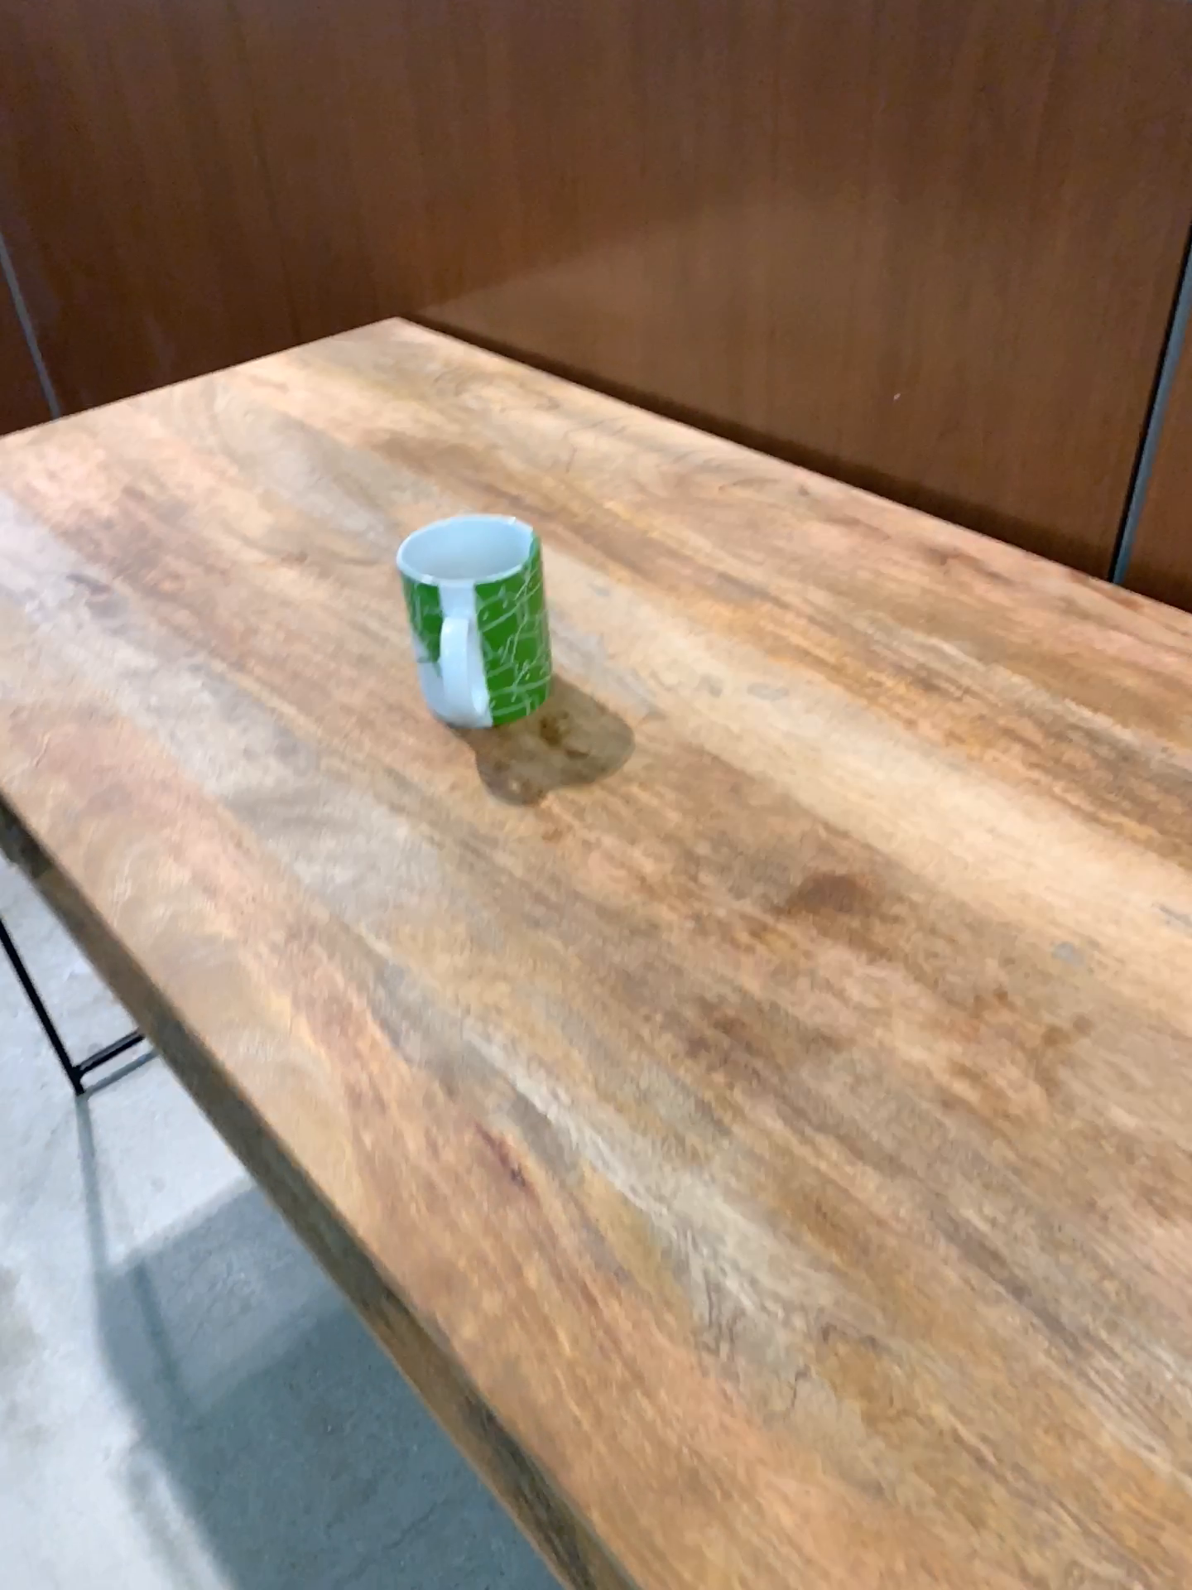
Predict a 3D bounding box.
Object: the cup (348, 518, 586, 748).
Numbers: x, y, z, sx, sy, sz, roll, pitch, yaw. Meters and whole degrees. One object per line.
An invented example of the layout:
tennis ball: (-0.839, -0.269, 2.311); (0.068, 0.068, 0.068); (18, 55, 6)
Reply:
cup: (-0.064, -0.091, 0.665); (0.100, 0.070, 0.120); (2, 39, 7)
